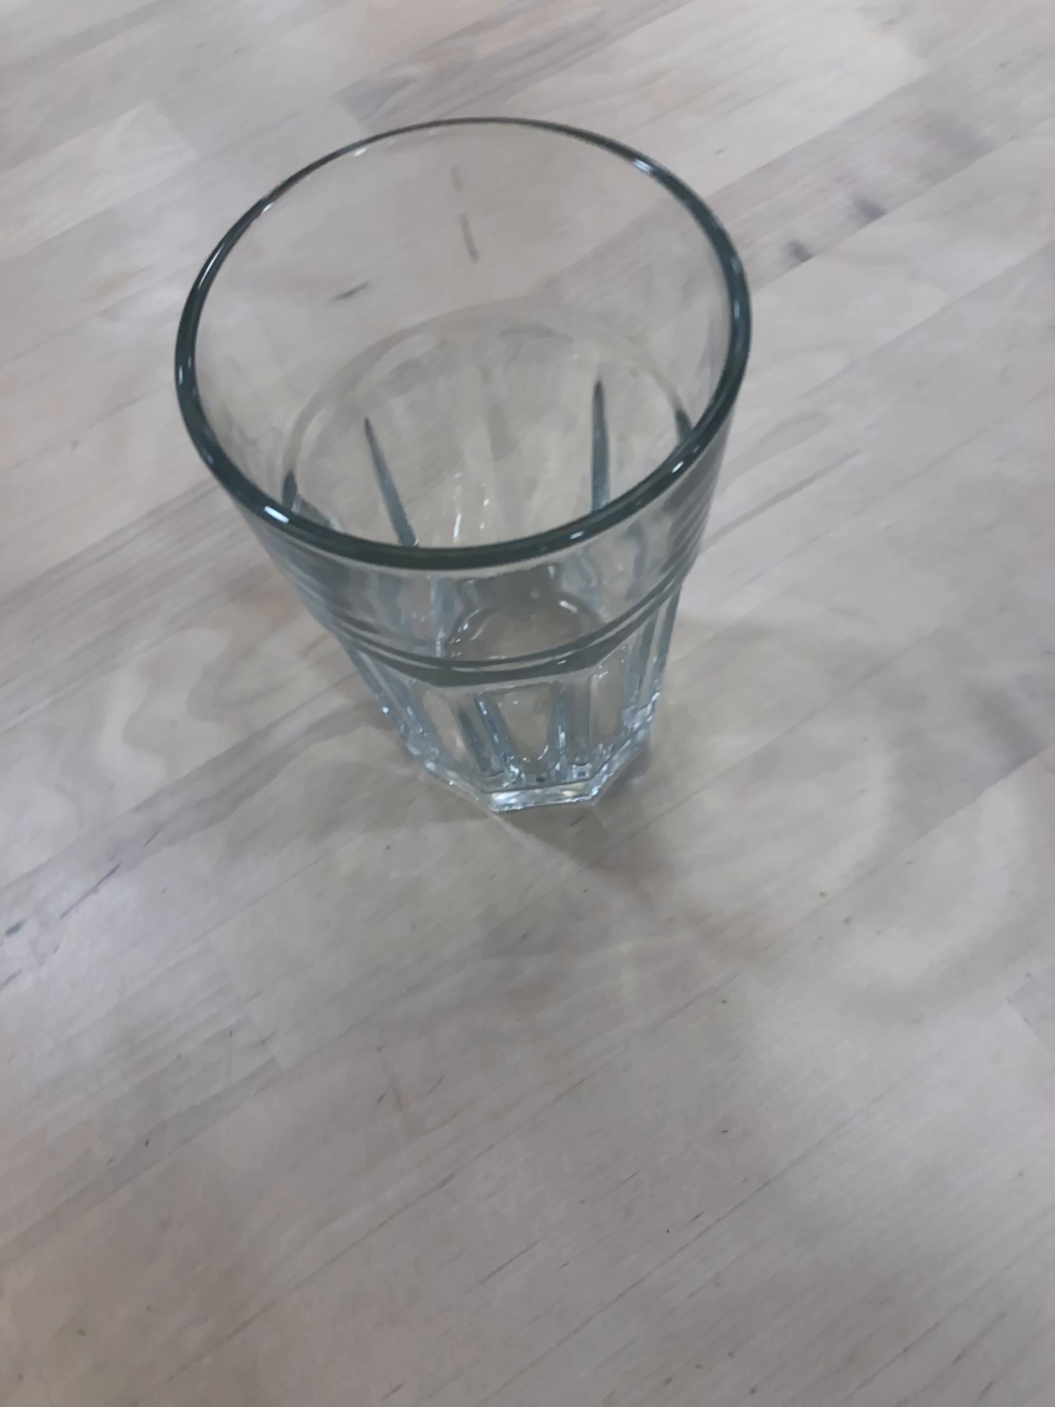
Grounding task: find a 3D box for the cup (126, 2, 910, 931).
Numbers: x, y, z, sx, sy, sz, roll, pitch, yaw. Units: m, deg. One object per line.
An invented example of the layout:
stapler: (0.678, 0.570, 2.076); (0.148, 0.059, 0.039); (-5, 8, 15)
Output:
cup: (-0.001, -0.030, 0.244); (0.090, 0.159, 0.090); (-2, 65, 4)
